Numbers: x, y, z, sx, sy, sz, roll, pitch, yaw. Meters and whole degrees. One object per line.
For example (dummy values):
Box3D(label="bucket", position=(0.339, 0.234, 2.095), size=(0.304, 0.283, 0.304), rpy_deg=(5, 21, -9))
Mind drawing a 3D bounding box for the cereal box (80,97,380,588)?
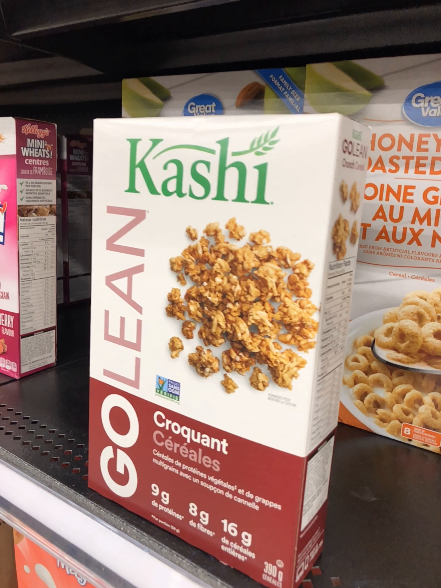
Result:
Box3D(label="cereal box", position=(-0.008, 0.022, 0.306), size=(0.170, 0.259, 0.050), rpy_deg=(11, 15, 32))
